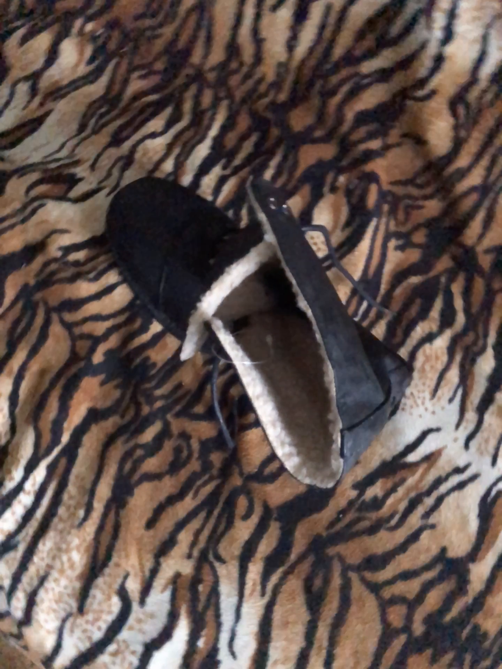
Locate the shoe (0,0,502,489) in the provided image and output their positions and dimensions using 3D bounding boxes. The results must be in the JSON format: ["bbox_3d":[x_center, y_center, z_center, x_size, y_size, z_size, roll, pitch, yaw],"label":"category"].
[{"bbox_3d":[0.008,-0.054,0.430,0.330,0.200,0.140,40,76,12],"label":"shoe"}]
